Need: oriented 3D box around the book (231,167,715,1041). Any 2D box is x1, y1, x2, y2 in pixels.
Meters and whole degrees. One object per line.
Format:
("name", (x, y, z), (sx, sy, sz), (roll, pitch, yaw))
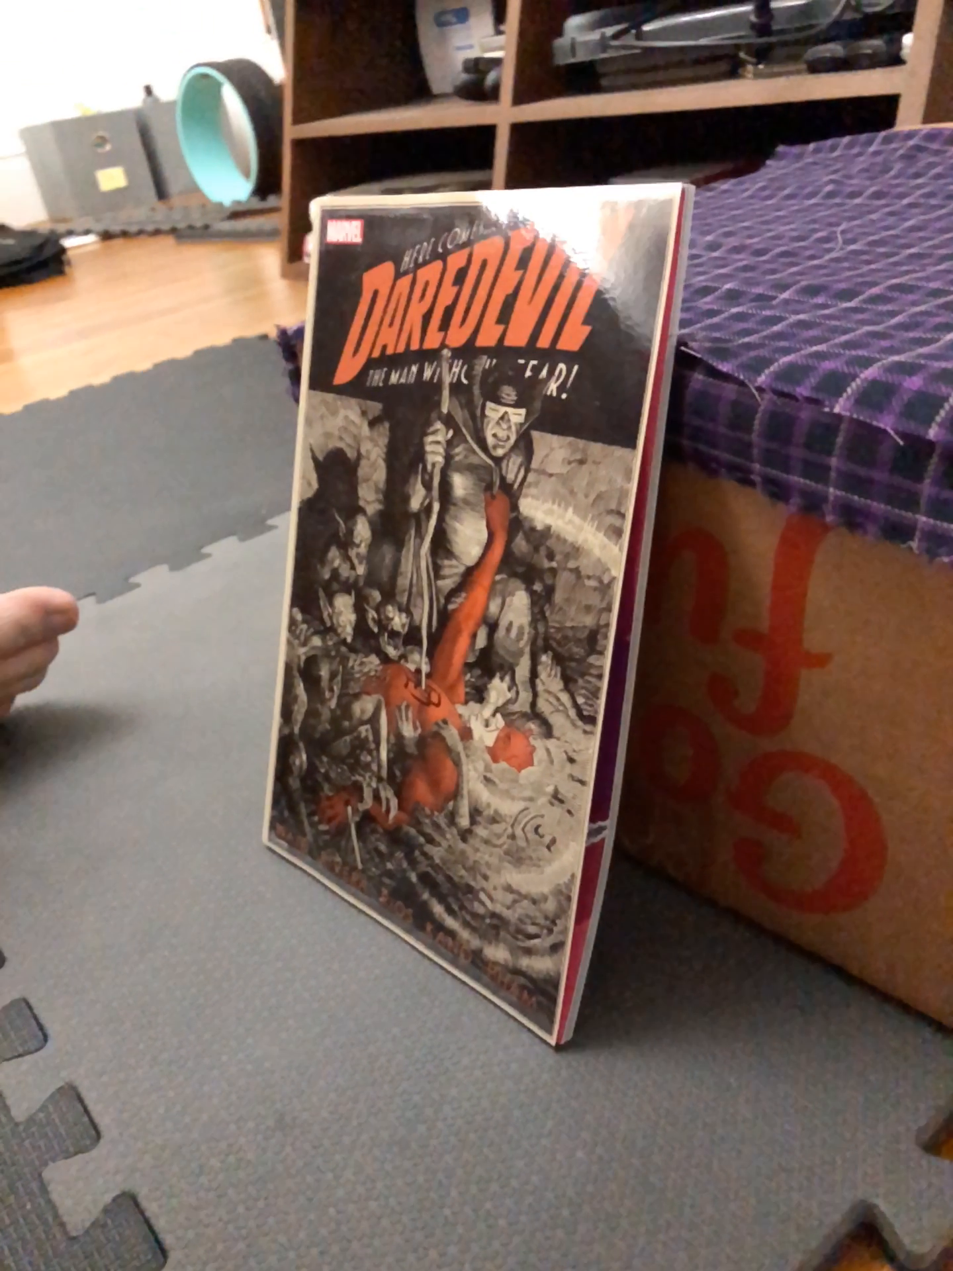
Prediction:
("book", (-0.018, -0.018, 0.330), (0.020, 0.229, 0.160), (-7, 20, -44))
